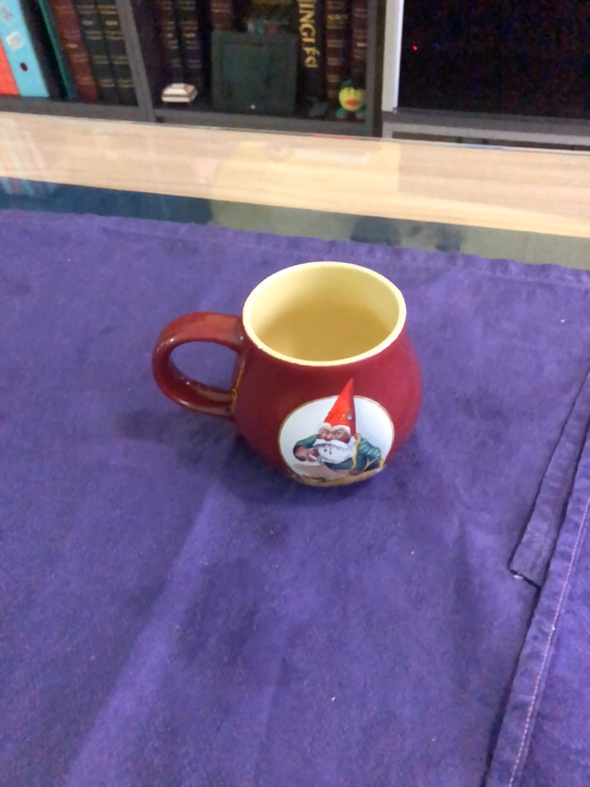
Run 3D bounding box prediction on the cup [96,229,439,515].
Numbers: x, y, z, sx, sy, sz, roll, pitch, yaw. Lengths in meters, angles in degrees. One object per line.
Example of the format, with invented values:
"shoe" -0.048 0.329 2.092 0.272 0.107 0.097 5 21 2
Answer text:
"cup" -0.004 -0.010 0.287 0.120 0.090 0.080 2 46 7
